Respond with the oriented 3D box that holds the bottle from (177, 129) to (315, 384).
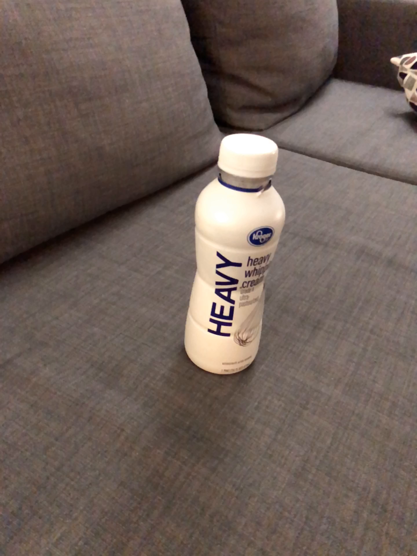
[{"bbox_3d":[0.020,-0.012,0.369,0.070,0.189,0.070,3,36,-2],"label":"bottle"}]
